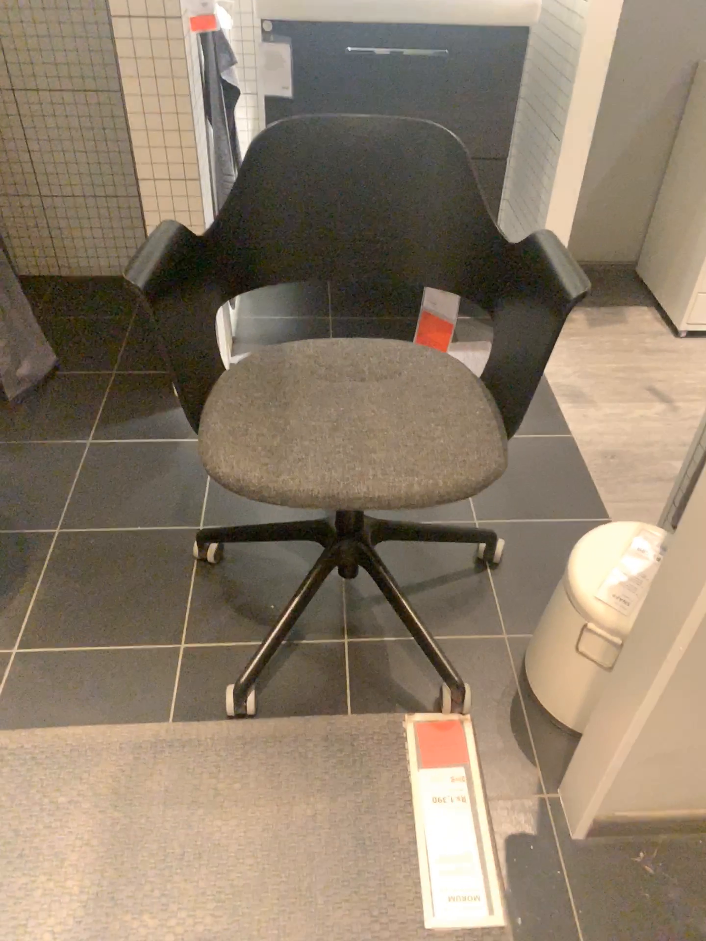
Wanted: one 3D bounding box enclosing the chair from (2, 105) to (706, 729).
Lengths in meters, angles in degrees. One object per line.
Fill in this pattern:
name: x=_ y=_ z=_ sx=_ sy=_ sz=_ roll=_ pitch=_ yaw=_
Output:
chair: x=-0.008 y=-0.079 z=1.108 sx=0.640 sy=0.737 sz=0.603 roll=0 pitch=41 yaw=-3
